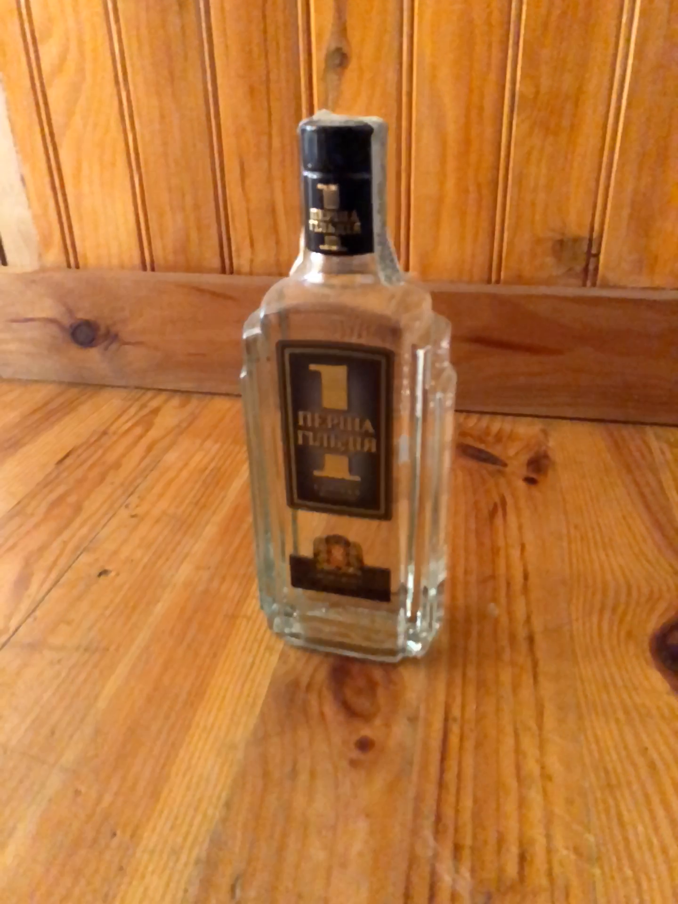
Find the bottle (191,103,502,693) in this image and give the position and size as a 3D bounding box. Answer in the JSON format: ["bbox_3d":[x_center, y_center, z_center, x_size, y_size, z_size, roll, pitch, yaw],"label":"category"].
[{"bbox_3d":[0.009,-0.016,0.329,0.100,0.249,0.060,7,30,16],"label":"bottle"}]
